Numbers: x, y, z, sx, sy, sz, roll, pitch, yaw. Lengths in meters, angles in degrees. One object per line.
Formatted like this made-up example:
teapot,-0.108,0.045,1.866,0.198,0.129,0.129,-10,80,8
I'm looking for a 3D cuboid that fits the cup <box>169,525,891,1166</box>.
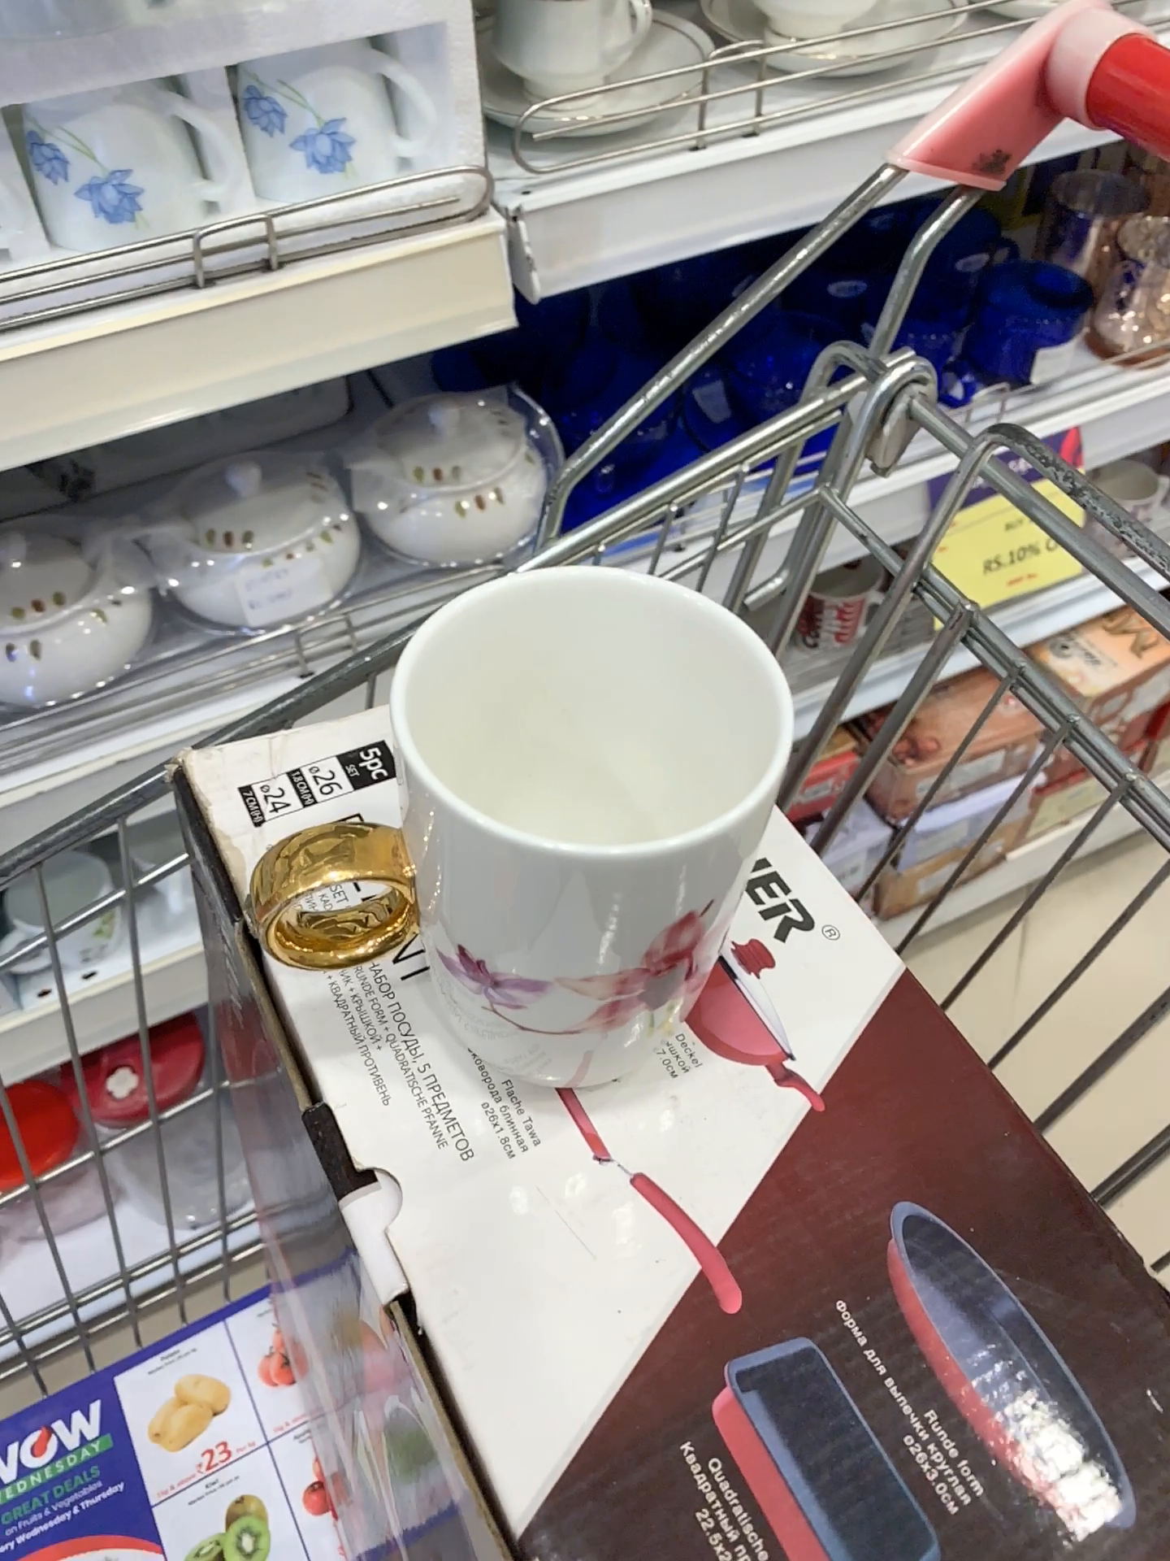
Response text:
cup,-0.015,0.014,0.238,0.110,0.090,0.070,-9,52,-10
